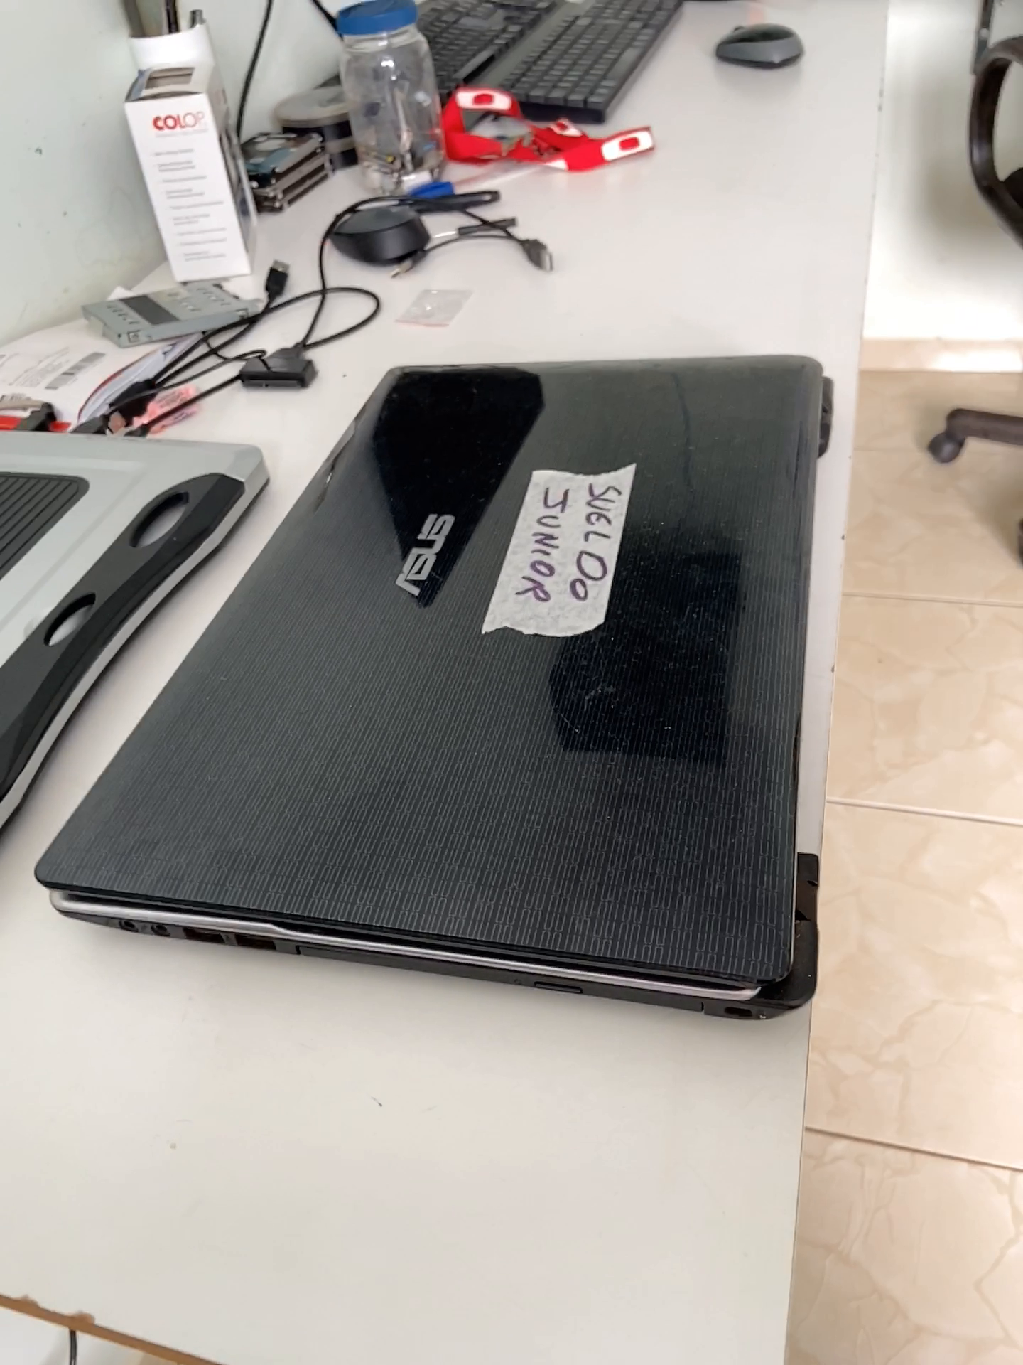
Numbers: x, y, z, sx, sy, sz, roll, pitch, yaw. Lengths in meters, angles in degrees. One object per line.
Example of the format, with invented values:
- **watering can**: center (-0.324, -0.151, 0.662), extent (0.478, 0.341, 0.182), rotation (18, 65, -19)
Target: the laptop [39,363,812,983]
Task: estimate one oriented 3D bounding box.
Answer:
- **laptop**: center (0.000, -0.050, 0.443), extent (0.236, 0.001, 0.365), rotation (3, 43, 15)
